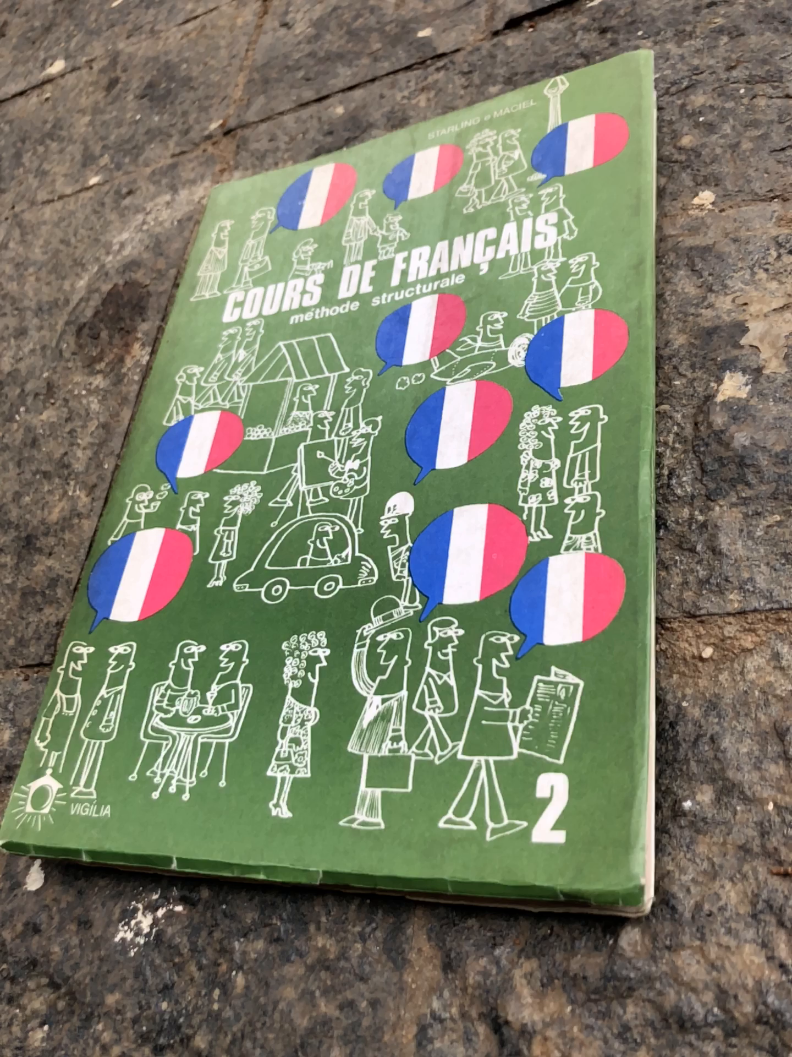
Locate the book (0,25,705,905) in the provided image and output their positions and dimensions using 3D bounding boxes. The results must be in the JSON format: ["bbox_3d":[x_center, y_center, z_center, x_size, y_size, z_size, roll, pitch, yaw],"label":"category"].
[{"bbox_3d":[-0.015,-0.027,0.223,0.167,0.013,0.212,-7,58,26],"label":"book"}]
